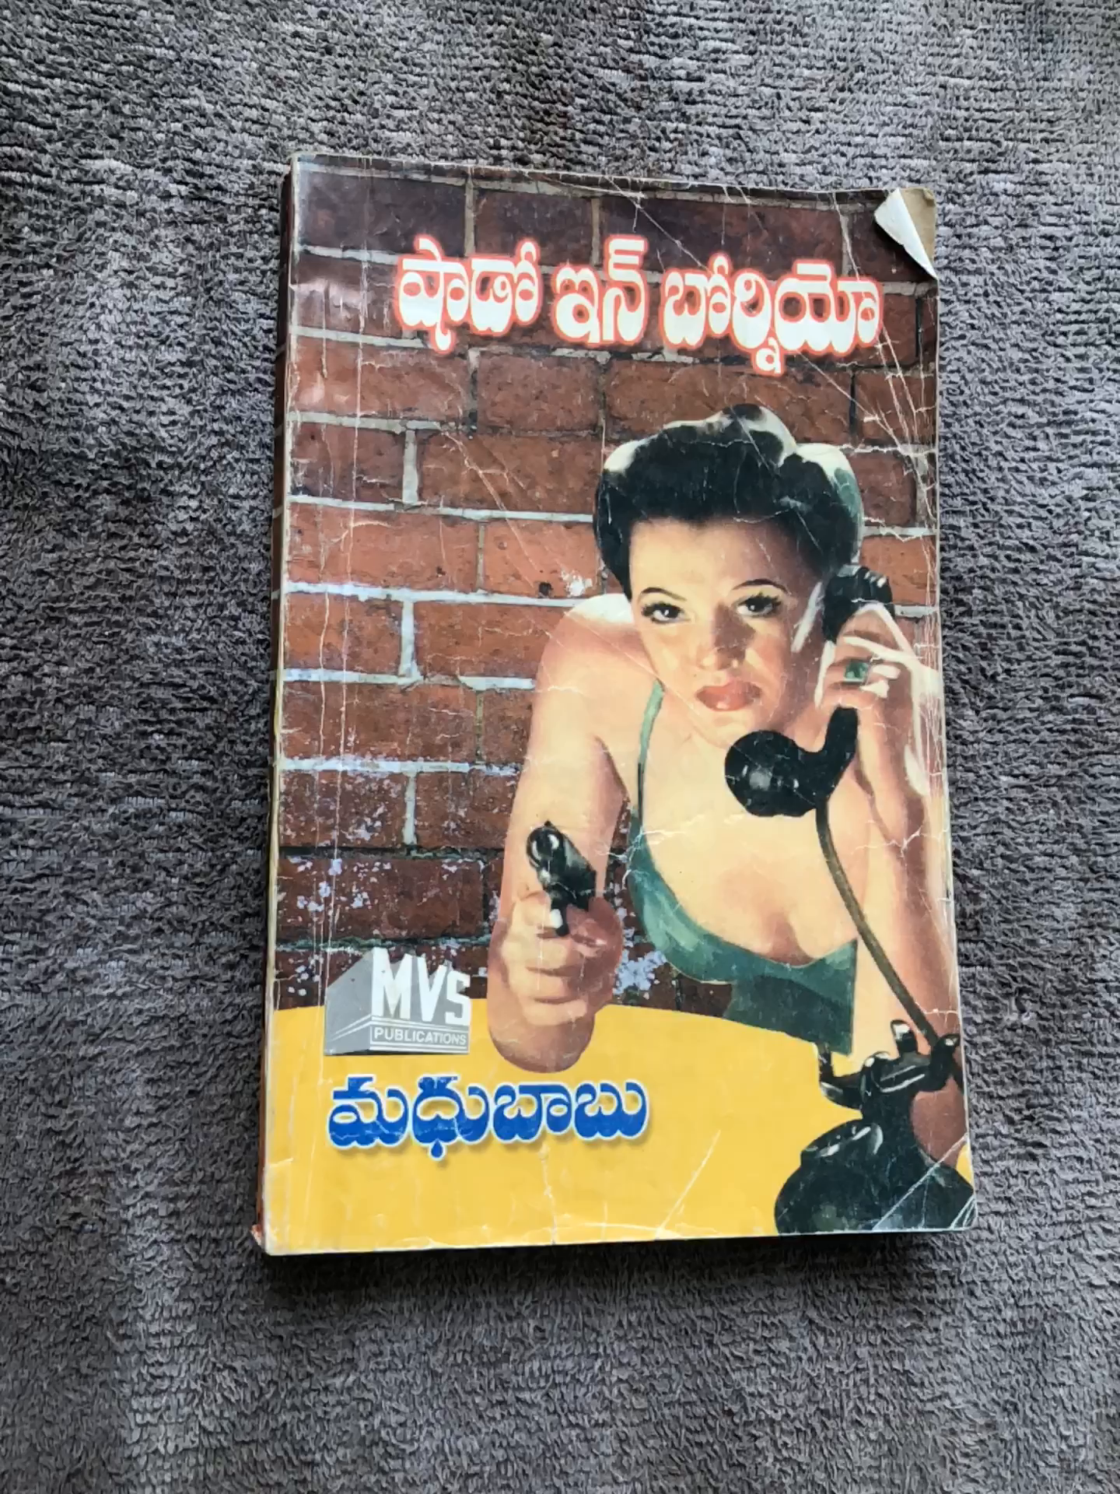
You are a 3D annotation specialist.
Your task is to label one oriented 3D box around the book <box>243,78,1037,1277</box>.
[{"bbox_3d":[0.010,-0.009,0.183,0.100,0.040,0.150,2,83,-10],"label":"book"}]
